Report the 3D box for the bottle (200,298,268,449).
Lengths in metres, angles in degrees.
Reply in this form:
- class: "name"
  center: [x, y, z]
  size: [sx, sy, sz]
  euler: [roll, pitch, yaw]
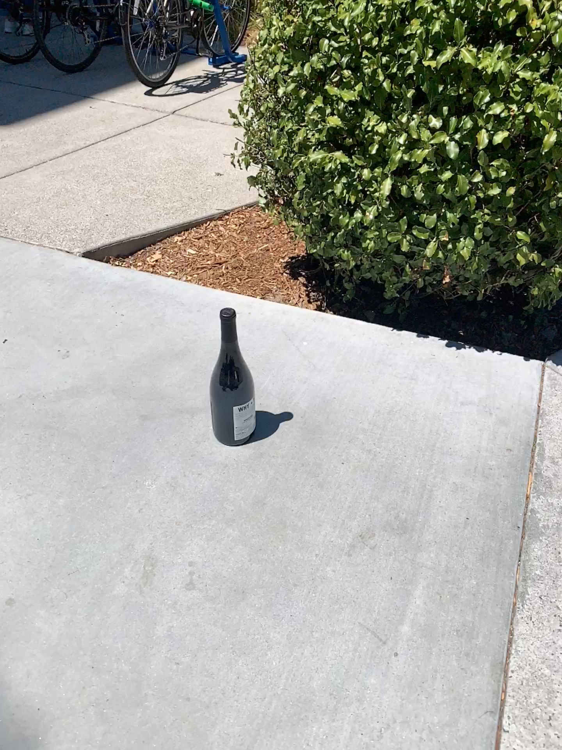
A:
- class: "bottle"
  center: [-0.086, 0.003, 1.038]
  size: [0.090, 0.259, 0.090]
  euler: [3, 39, -3]
